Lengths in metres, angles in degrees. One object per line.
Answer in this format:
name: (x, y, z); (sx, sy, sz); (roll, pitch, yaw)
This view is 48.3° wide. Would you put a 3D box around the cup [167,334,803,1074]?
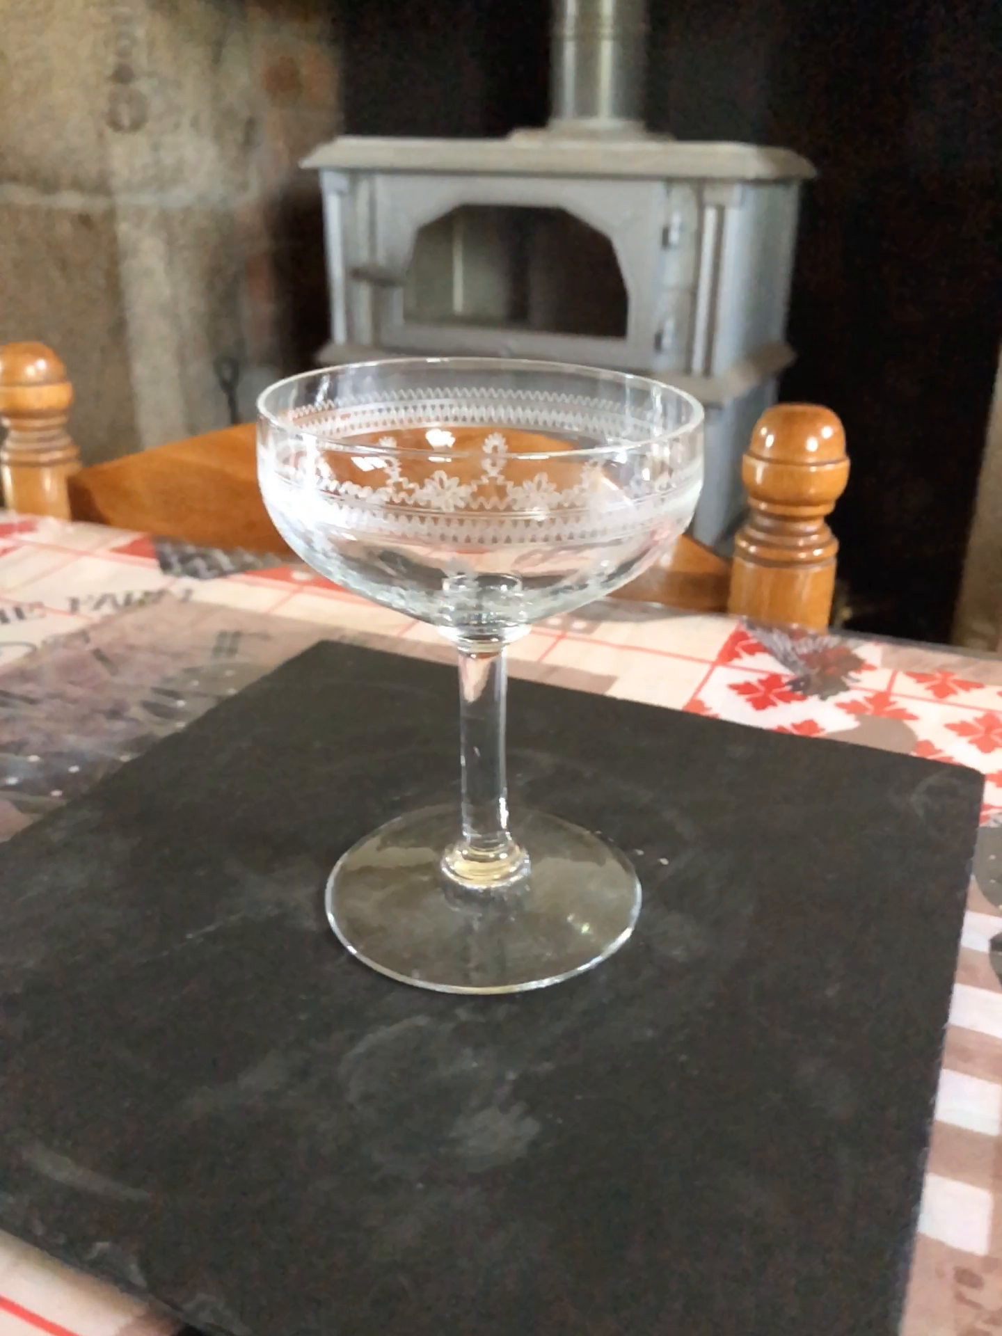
cup: (-0.004, -0.004, 0.247); (0.090, 0.119, 0.090); (0, 23, 0)
